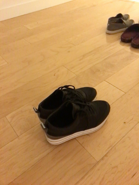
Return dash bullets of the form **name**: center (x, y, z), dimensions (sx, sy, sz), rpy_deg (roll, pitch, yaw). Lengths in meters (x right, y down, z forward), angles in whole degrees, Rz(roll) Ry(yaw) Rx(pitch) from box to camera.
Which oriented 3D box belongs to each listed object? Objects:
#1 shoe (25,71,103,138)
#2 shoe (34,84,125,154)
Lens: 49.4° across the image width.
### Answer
- **shoe**: center (-0.012, 0.041, 0.612), dimensions (0.281, 0.139, 0.100), rpy_deg (-25, 47, -20)
- **shoe**: center (0.037, 0.091, 0.556), dimensions (0.290, 0.139, 0.101), rpy_deg (-18, 45, -14)
